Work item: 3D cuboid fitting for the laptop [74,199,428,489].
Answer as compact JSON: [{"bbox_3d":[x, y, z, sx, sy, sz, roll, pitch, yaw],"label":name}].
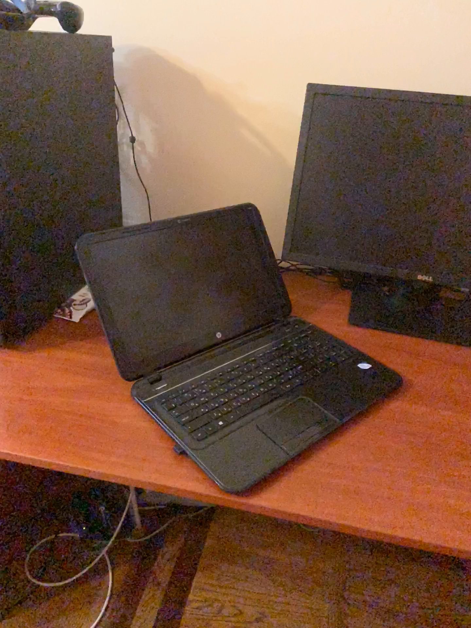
[{"bbox_3d":[0.010,-0.008,0.692,0.332,0.168,0.359,-19,39,-36],"label":"laptop"}]
